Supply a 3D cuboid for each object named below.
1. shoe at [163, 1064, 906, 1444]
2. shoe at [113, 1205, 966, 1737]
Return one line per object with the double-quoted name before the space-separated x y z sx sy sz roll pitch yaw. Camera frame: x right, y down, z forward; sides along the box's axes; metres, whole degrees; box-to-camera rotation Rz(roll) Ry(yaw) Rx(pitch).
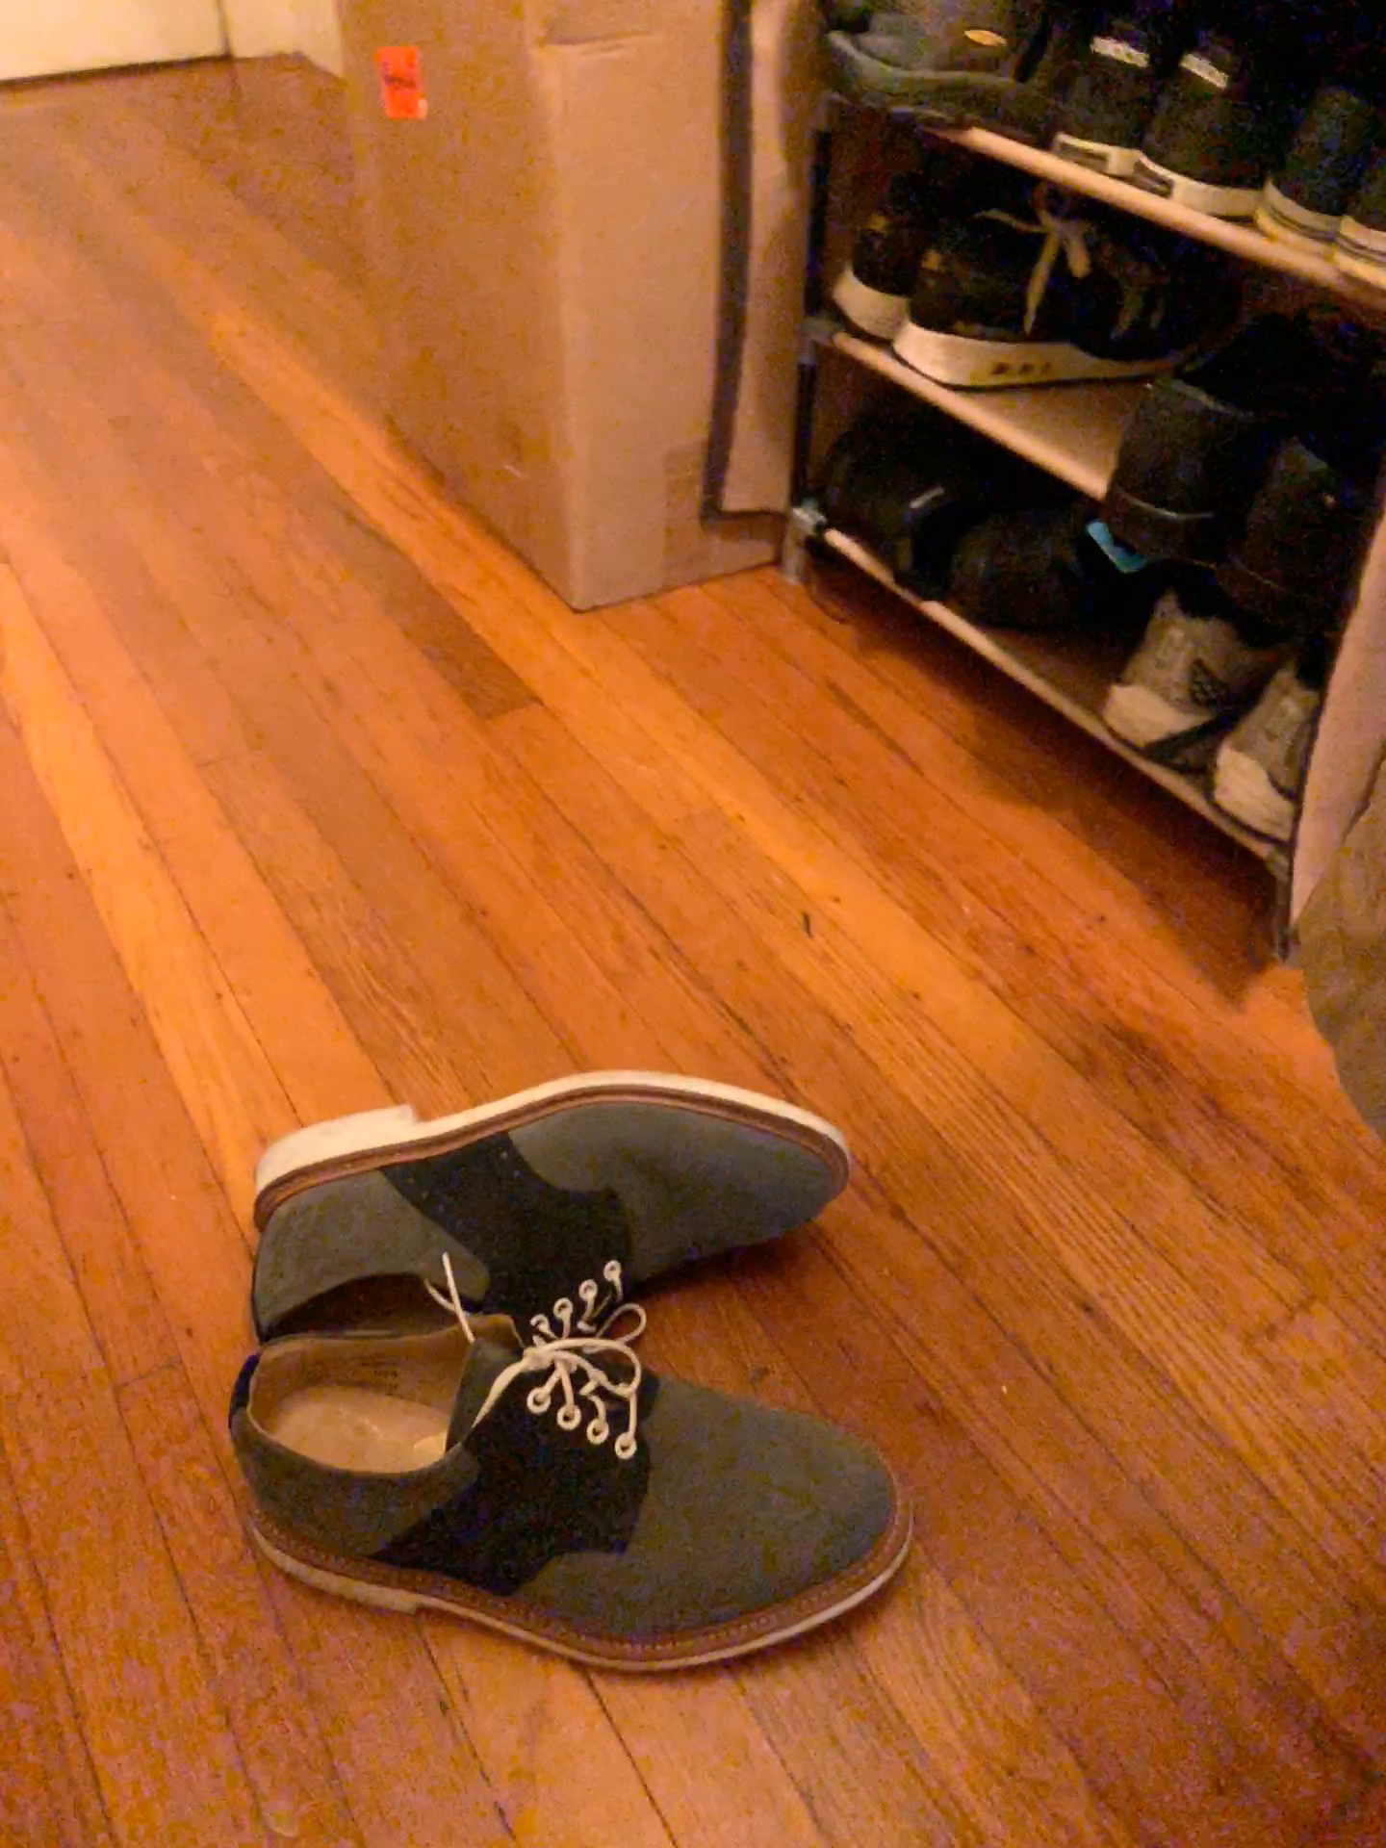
"shoe" -0.069 0.158 0.685 0.310 0.129 0.121 -1 46 -3
"shoe" -0.052 0.222 0.590 0.310 0.099 0.131 7 44 6
